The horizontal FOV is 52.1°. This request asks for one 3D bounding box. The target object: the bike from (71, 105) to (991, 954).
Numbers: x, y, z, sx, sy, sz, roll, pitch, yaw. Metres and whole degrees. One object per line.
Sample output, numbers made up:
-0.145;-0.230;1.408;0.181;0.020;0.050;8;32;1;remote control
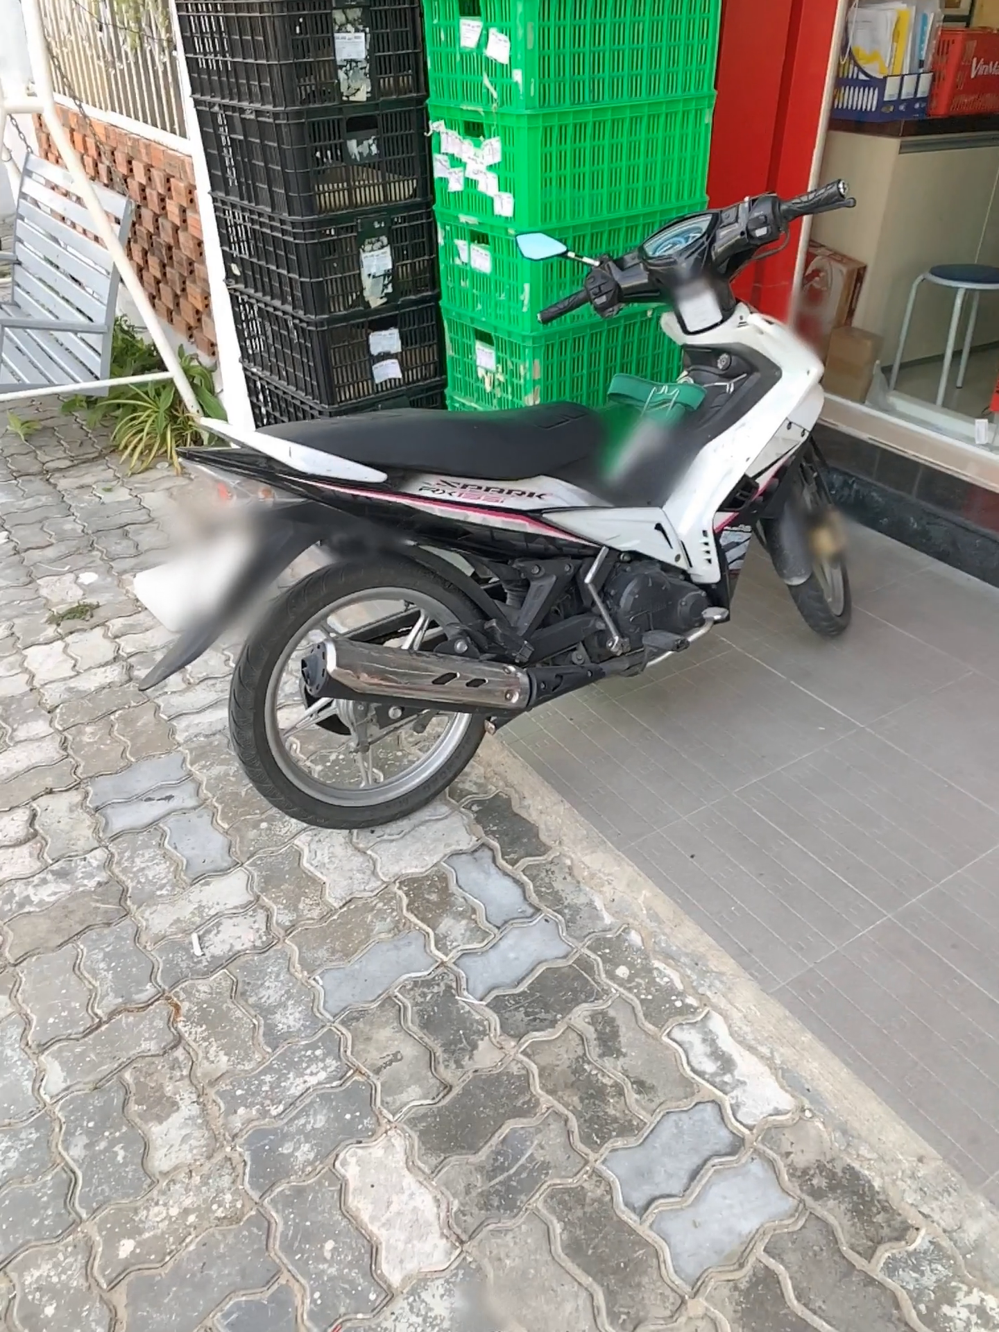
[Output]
0.167;-0.462;2.280;1.817;1.186;0.669;-26;41;-31;bike
